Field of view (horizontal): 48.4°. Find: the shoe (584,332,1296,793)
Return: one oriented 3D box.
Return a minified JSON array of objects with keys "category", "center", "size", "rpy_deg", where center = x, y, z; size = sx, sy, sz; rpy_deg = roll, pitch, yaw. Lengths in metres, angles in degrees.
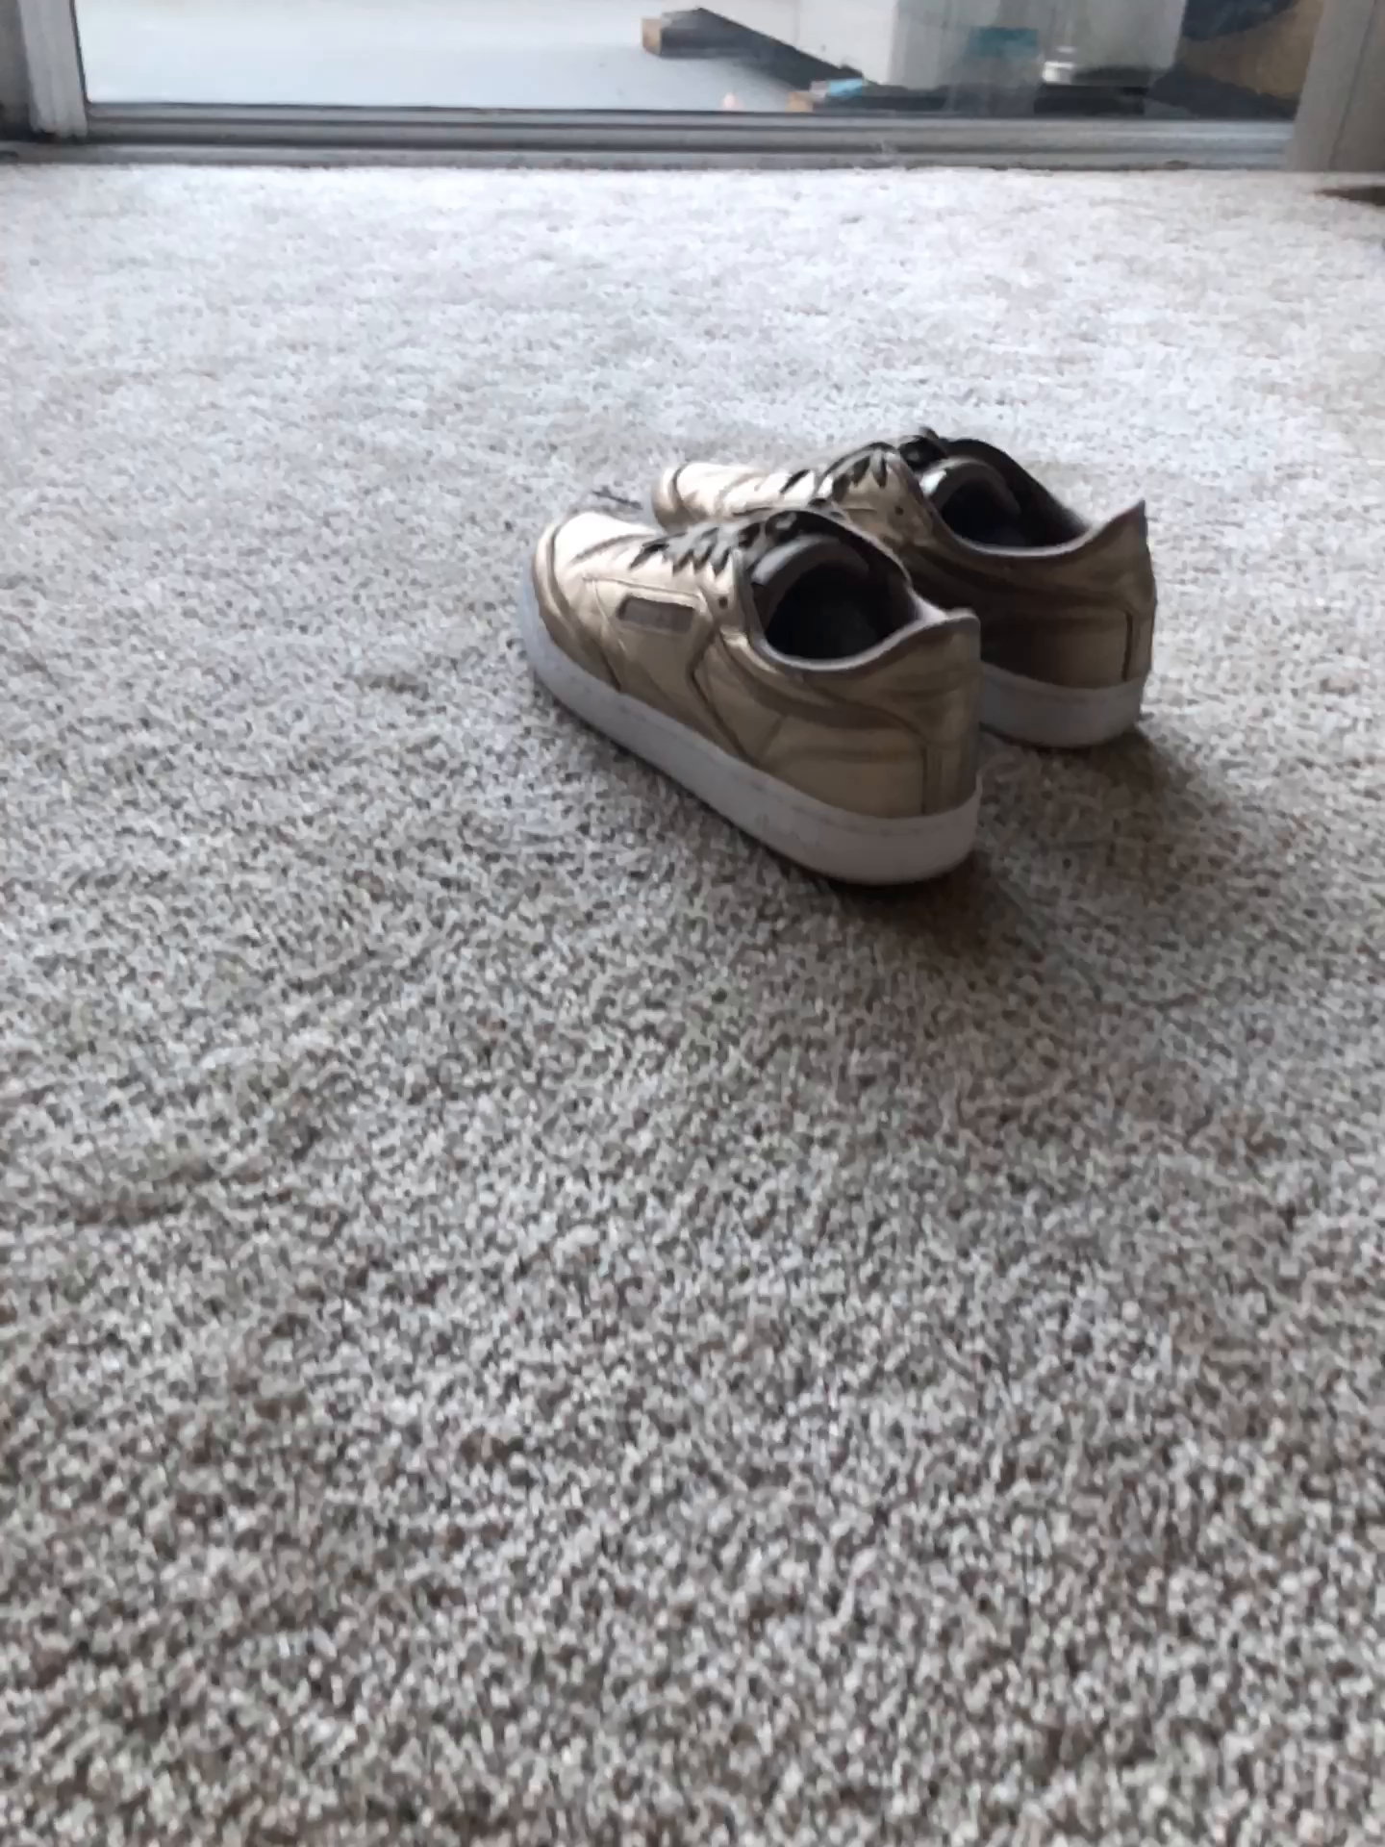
[{"category":"shoe","center":[0.087,-0.163,0.639],"size":[0.110,0.070,0.281],"rpy_deg":[-25,47,-34]}]

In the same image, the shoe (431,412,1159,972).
[{"category":"shoe","center":[0.020,-0.103,0.574],"size":[0.110,0.070,0.281],"rpy_deg":[-21,44,-31]}]
